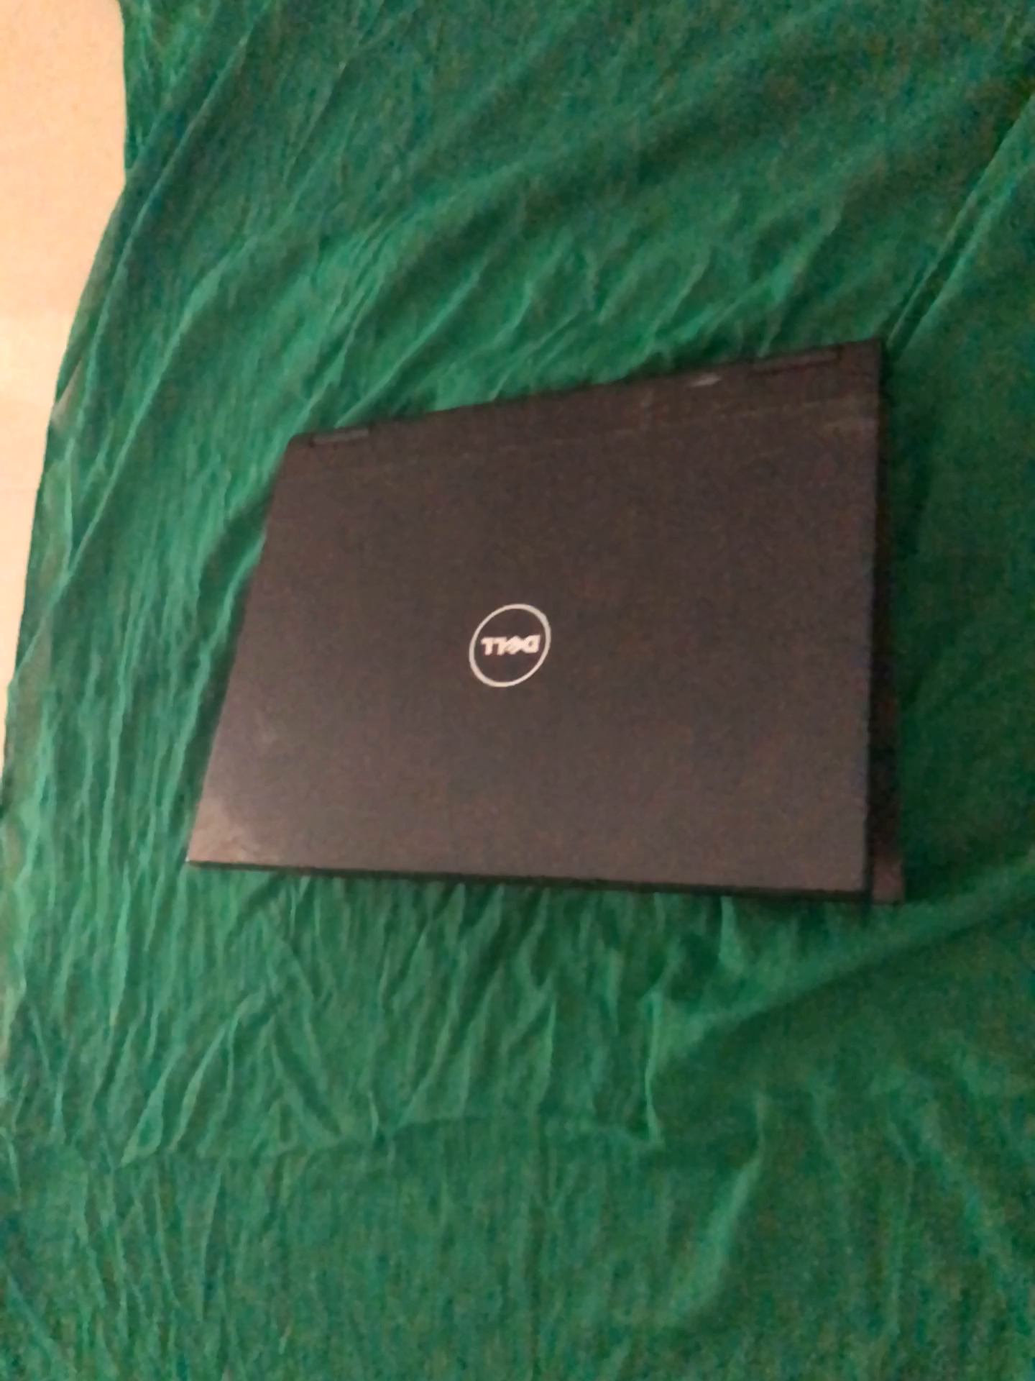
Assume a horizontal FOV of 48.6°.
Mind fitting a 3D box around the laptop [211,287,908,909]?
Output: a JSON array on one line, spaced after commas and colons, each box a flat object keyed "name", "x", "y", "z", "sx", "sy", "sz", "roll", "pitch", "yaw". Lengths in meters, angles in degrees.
[{"name": "laptop", "x": 0.008, "y": -0.025, "z": 0.516, "sx": 0.307, "sy": 0.066, "sz": 0.226, "roll": -2, "pitch": 91, "yaw": 27}]
